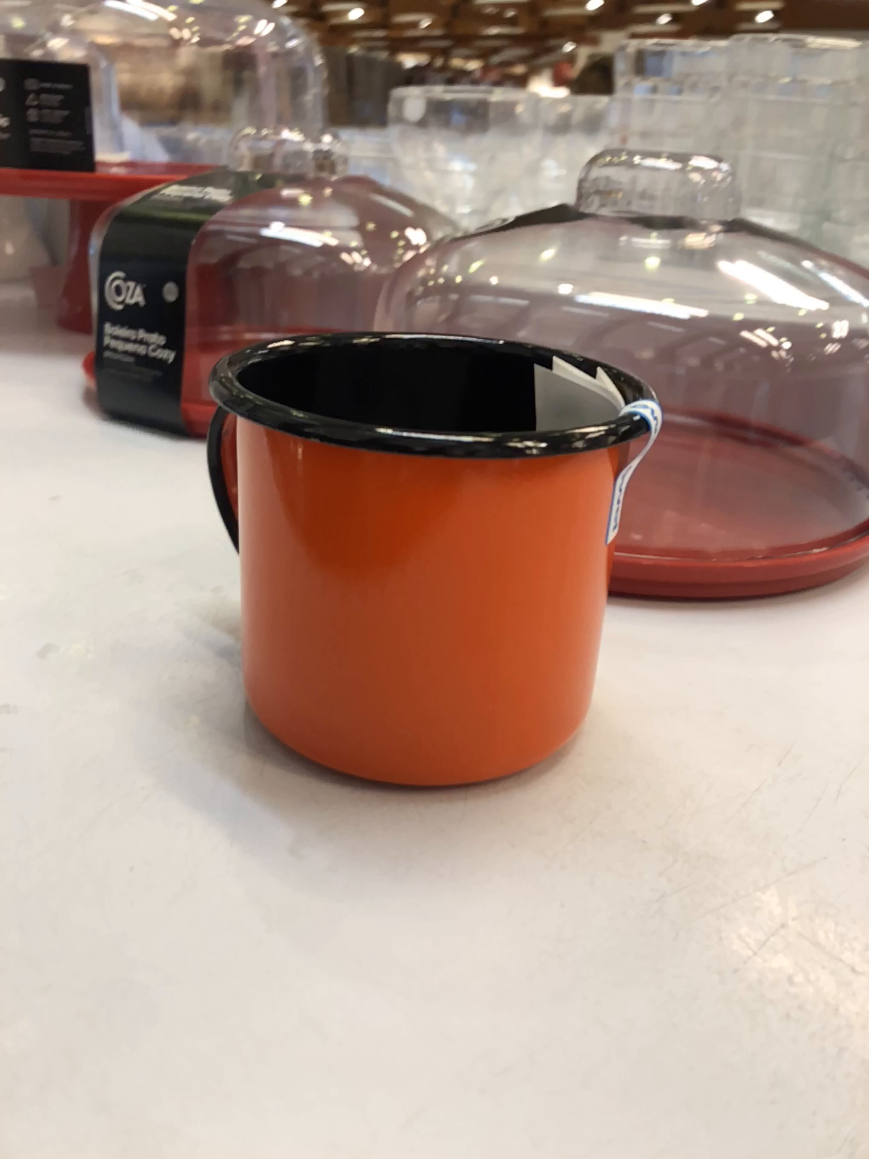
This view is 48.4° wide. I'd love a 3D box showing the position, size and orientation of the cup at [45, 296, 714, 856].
[{"bbox_3d":[-0.014,-0.014,0.209,0.110,0.069,0.080,23,32,37],"label":"cup"}]
